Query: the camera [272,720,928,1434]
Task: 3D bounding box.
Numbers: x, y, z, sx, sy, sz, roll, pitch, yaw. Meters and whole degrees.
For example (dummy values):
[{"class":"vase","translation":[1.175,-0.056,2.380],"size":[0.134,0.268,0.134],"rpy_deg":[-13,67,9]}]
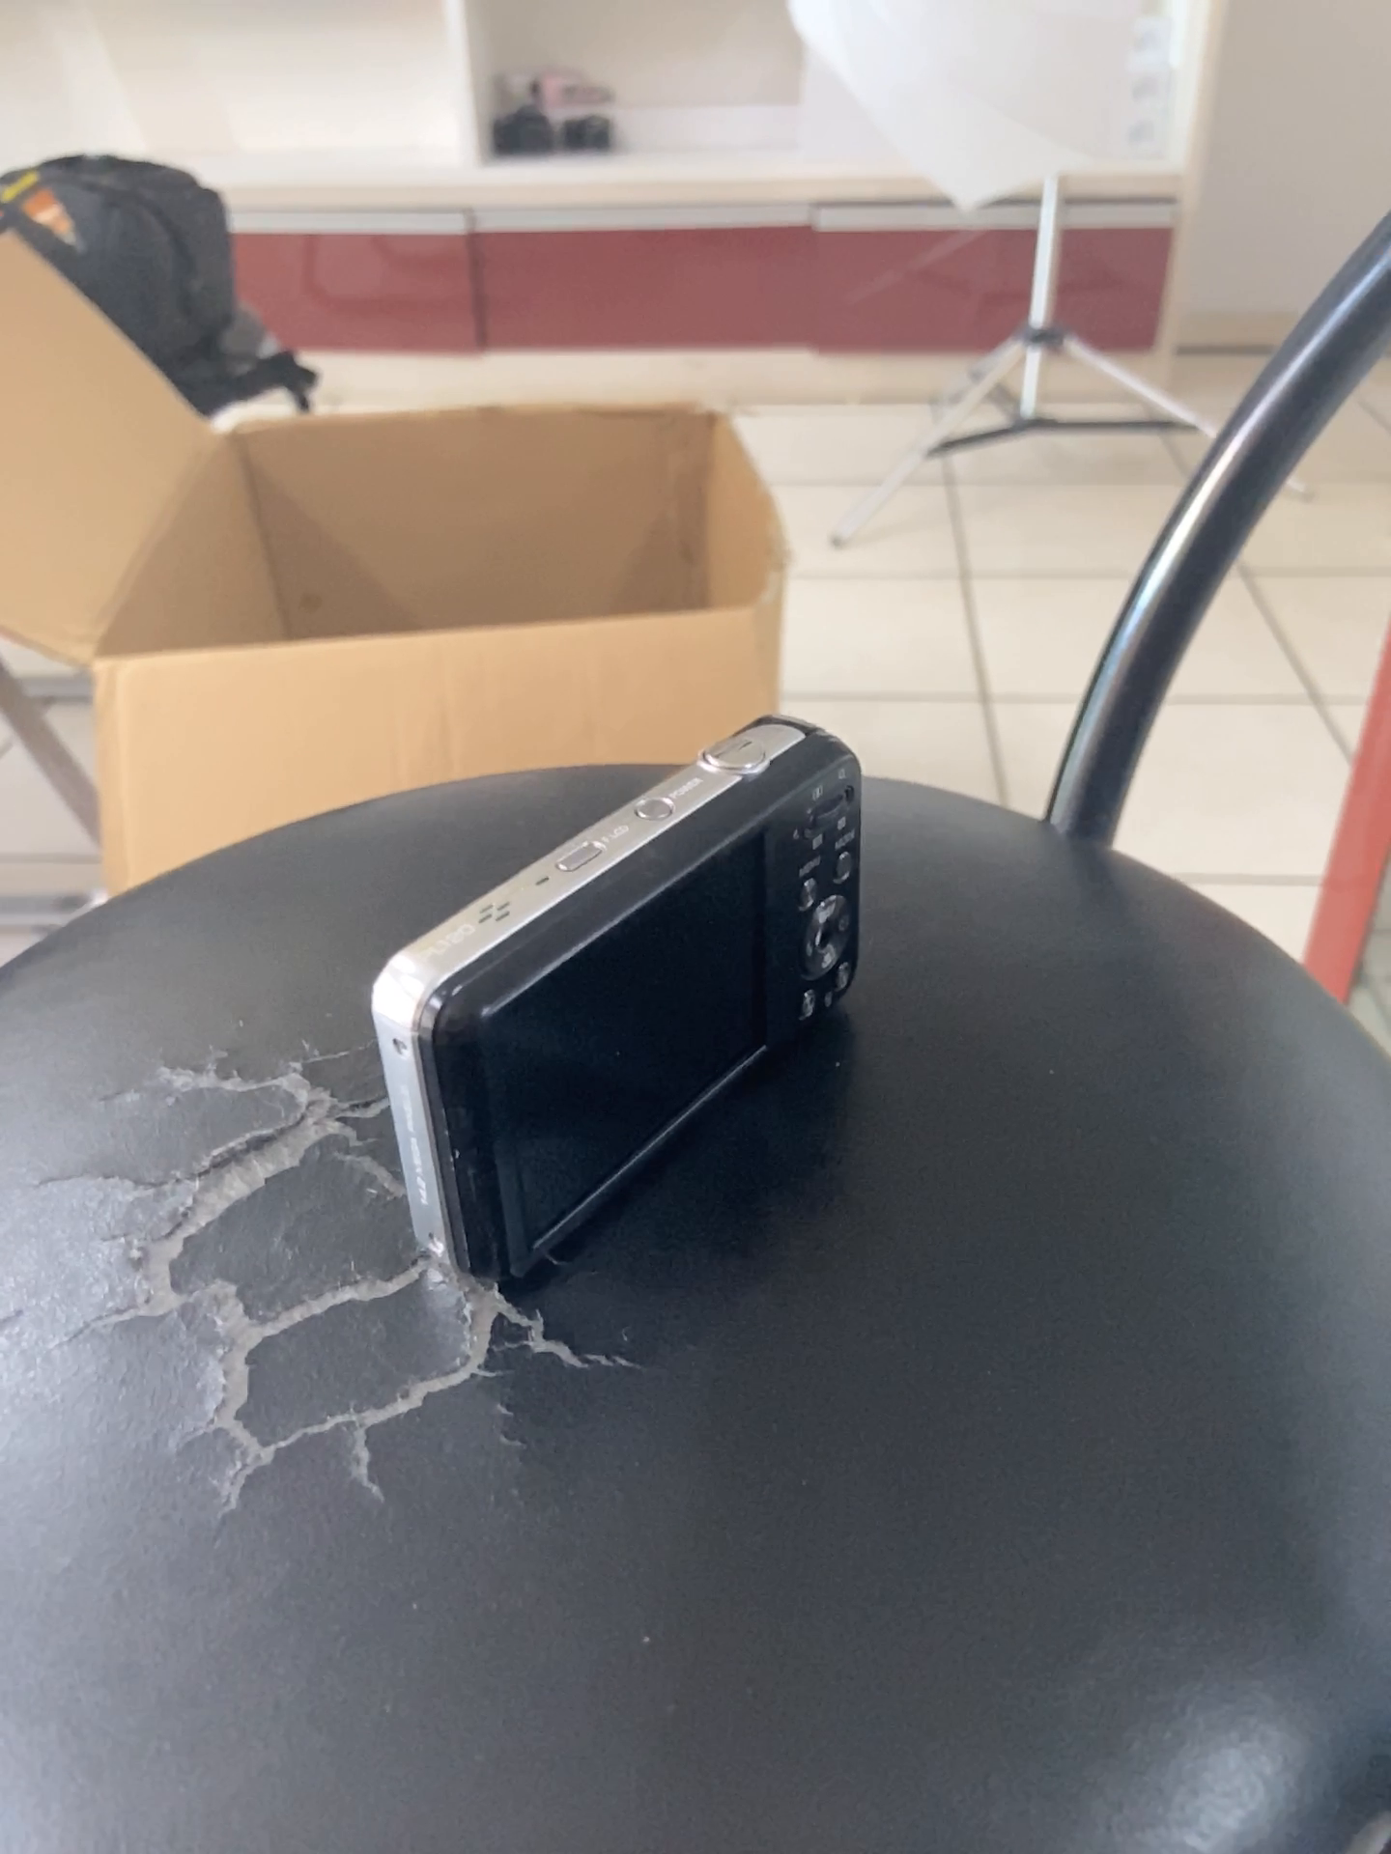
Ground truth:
[{"class":"camera","translation":[-0.007,0.015,0.210],"size":[0.030,0.050,0.100],"rpy_deg":[23,42,32]}]
